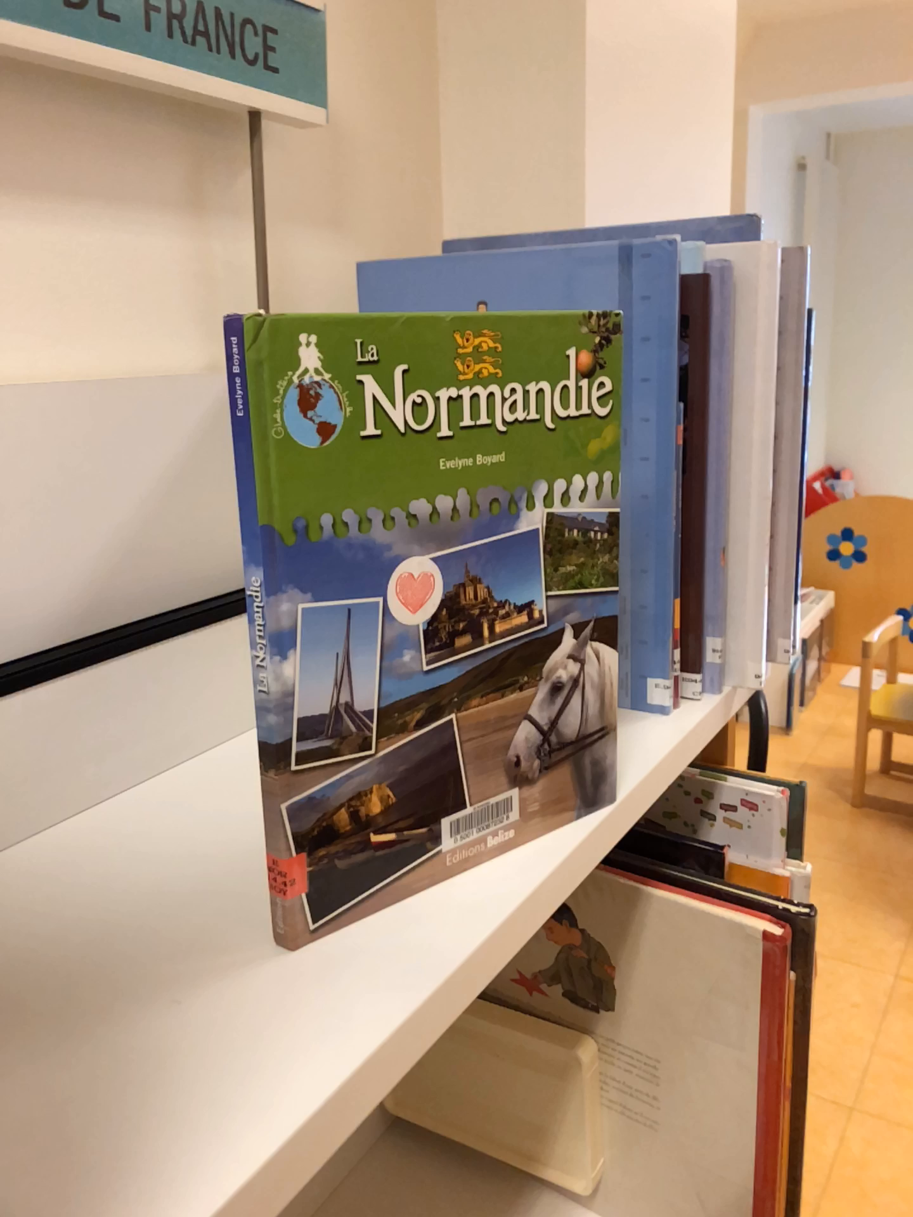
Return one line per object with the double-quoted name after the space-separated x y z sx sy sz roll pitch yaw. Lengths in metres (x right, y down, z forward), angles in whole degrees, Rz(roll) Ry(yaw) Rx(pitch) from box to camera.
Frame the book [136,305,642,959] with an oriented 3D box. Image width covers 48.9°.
-0.017 -0.007 0.459 0.208 0.249 0.077 -12 17 -35 "book"
